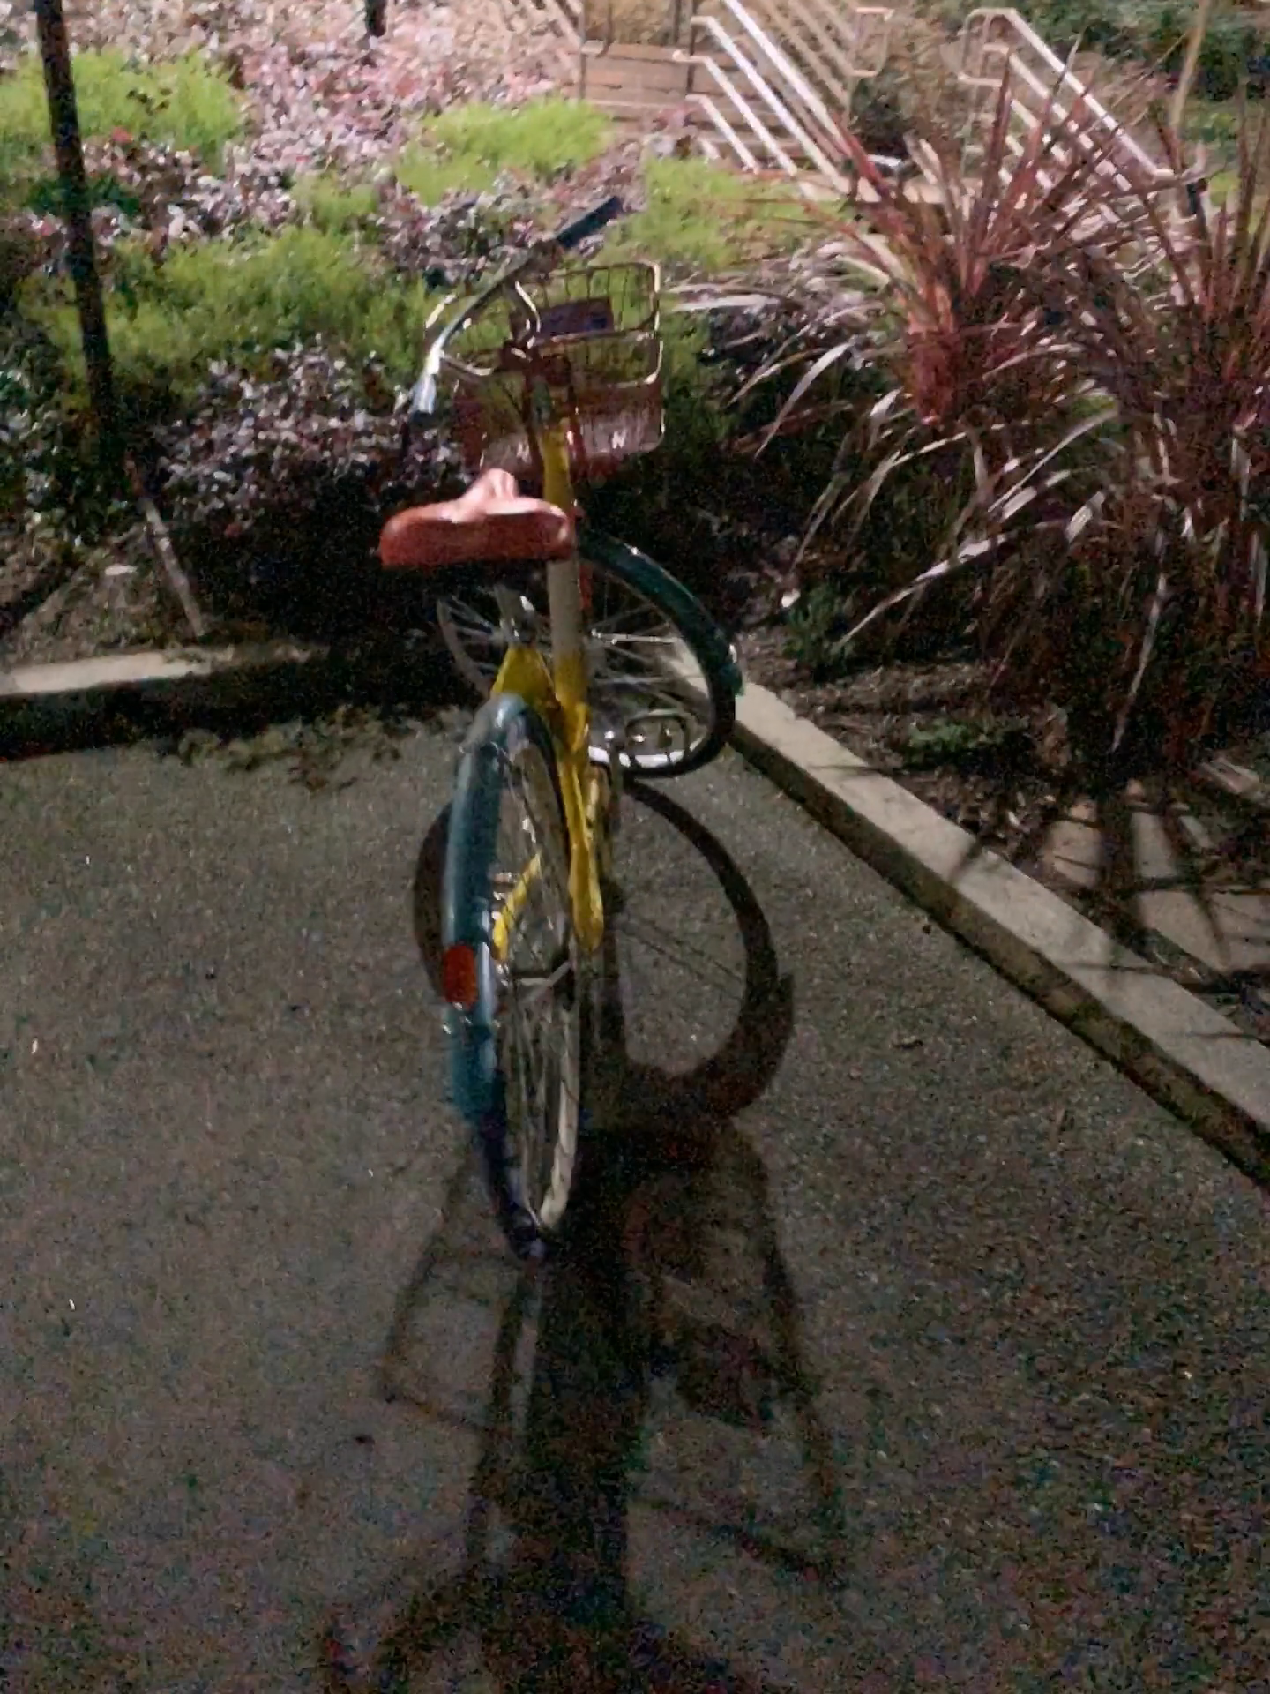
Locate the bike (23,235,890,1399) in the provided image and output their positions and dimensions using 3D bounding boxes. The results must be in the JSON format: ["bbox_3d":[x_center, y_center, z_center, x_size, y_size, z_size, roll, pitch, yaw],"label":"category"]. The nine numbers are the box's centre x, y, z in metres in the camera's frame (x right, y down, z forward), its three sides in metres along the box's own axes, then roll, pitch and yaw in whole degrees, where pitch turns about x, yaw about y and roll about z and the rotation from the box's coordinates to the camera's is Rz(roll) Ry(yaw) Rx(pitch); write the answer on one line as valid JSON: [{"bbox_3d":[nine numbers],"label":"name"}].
[{"bbox_3d":[-0.237,-0.243,1.874,0.599,1.085,1.592,0,28,-8],"label":"bike"}]
